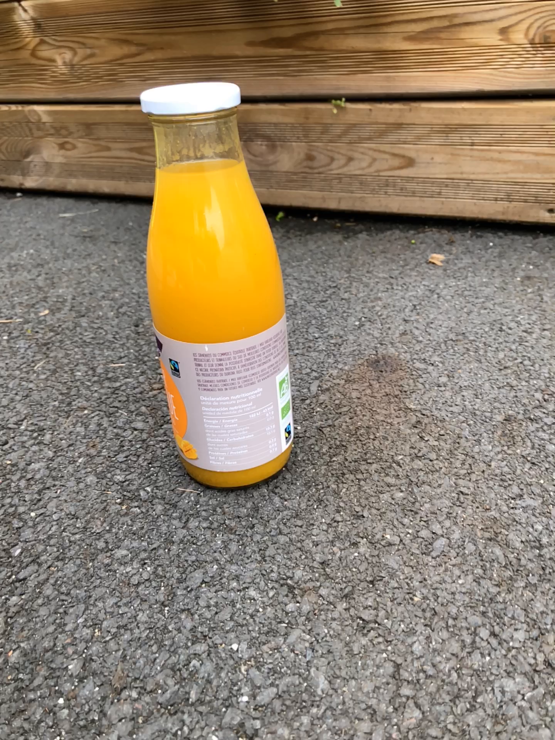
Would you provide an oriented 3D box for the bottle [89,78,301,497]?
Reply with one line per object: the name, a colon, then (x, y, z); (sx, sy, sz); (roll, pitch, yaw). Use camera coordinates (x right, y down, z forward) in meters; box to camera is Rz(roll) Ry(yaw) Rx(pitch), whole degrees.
bottle: (-0.038, -0.042, 0.342); (0.080, 0.209, 0.080); (-3, 29, 2)
